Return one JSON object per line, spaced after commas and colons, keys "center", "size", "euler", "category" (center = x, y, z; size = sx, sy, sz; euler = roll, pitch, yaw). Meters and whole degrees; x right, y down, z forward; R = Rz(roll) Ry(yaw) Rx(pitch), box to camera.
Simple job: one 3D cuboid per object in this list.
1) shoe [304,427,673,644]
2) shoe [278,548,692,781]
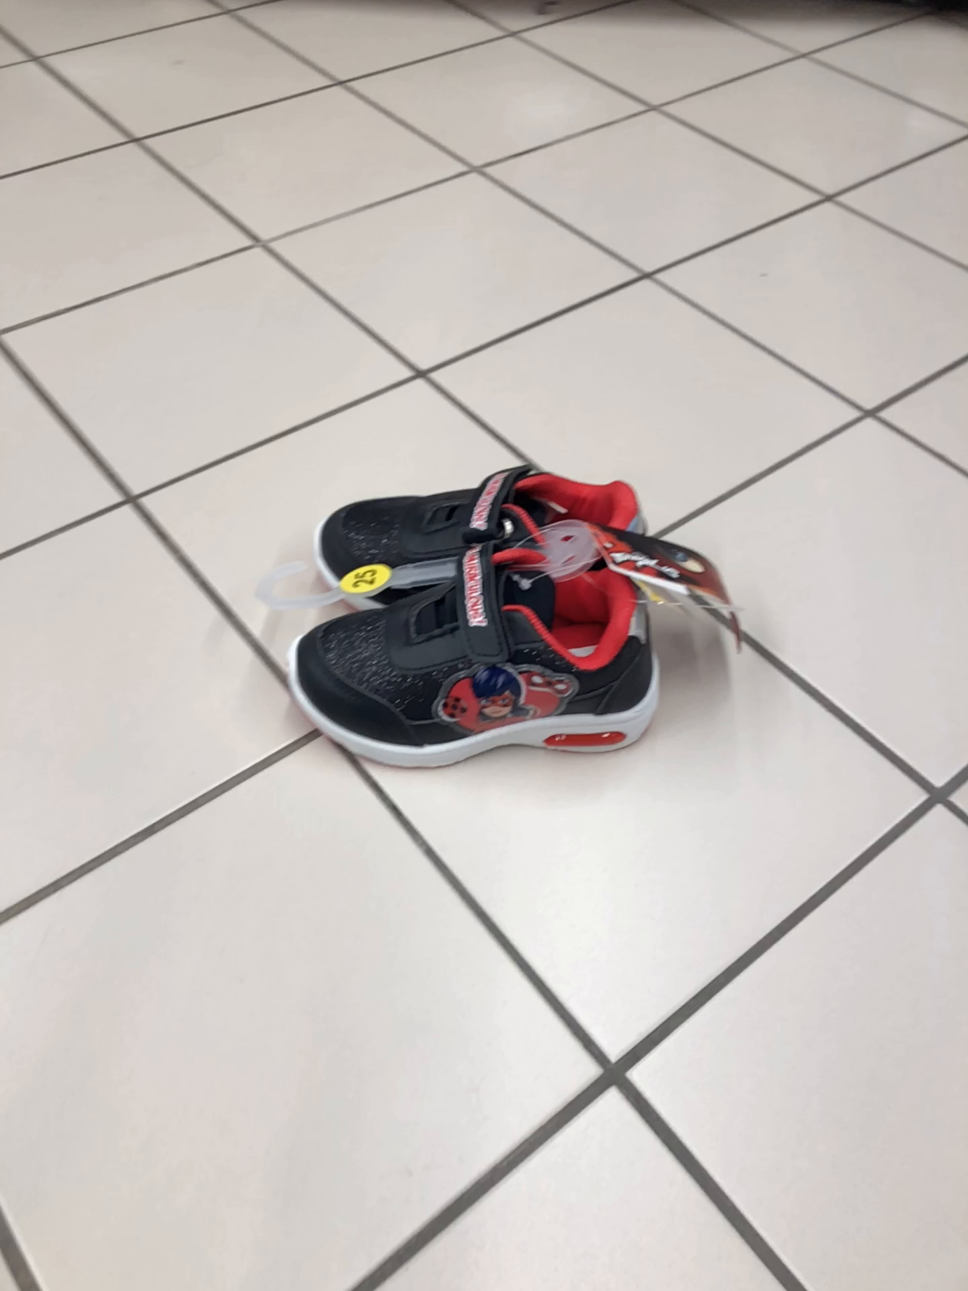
{"center": [0.002, -0.054, 0.529], "size": [0.166, 0.069, 0.076], "euler": [2, 49, 0], "category": "shoe"}
{"center": [-0.001, 0.008, 0.482], "size": [0.168, 0.071, 0.077], "euler": [0, 49, -2], "category": "shoe"}
